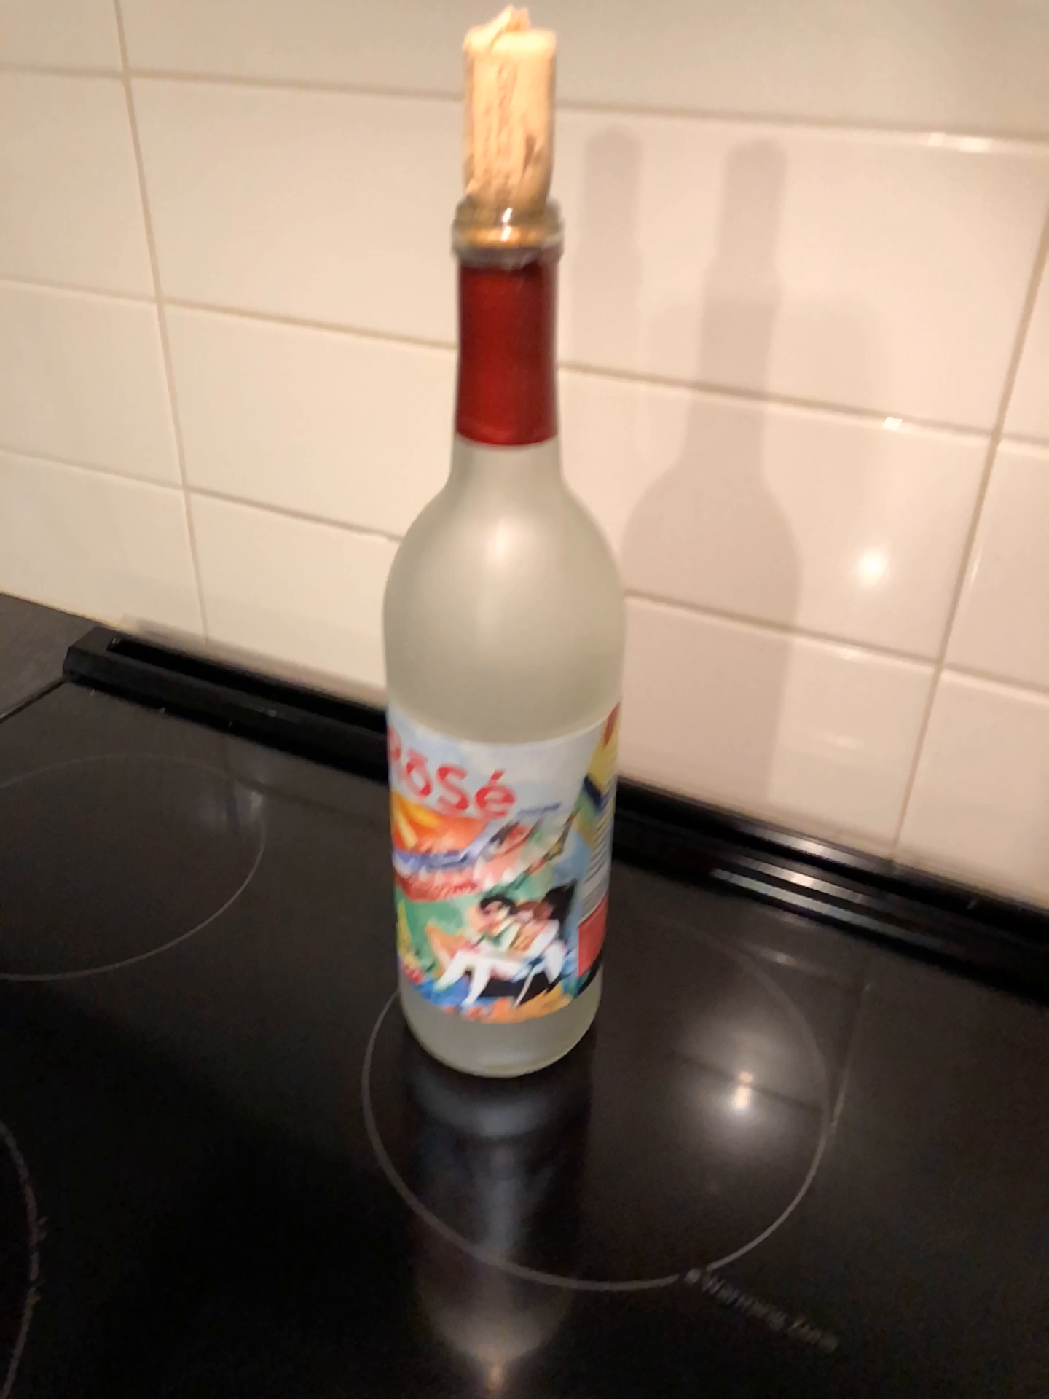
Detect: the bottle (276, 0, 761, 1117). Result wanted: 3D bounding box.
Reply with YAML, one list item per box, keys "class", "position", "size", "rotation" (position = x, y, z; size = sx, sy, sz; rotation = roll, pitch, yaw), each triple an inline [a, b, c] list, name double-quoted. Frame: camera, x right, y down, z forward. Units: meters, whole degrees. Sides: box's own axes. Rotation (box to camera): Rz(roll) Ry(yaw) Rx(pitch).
- class: "bottle"
  position: [-0.003, -0.026, 0.350]
  size: [0.080, 0.318, 0.080]
  rotation: [1, 32, -1]
